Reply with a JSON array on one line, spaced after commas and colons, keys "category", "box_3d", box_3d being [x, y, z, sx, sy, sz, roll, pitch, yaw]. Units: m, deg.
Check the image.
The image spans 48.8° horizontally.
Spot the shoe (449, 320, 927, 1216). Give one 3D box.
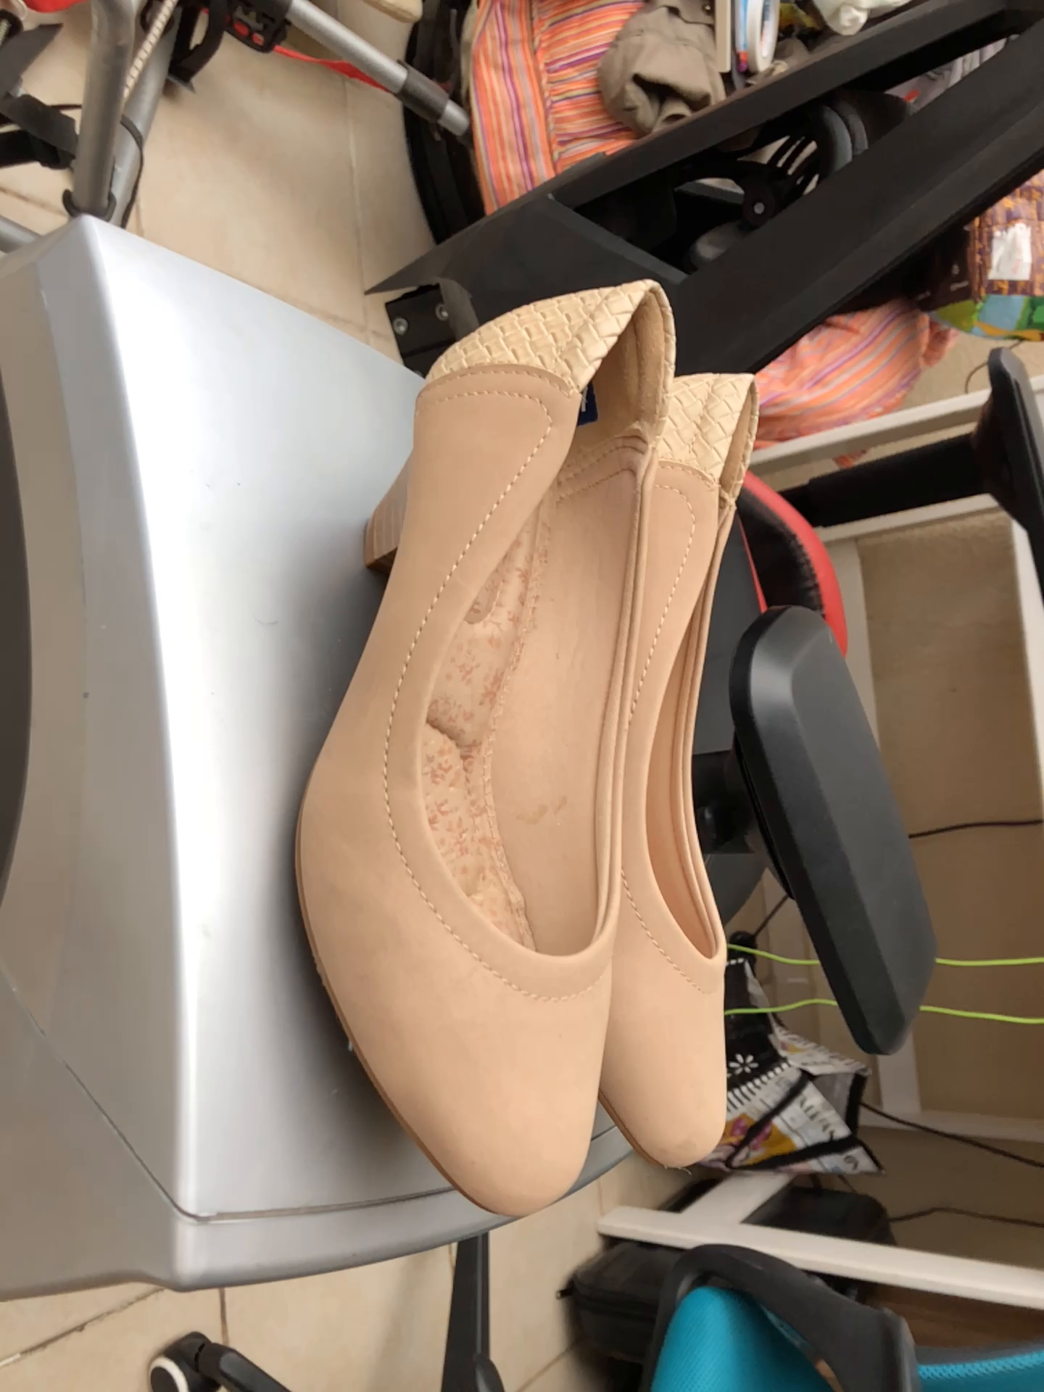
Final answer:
[{"category": "shoe", "box_3d": [0.051, 0.024, 0.382, 0.091, 0.119, 0.244, 14, 72, -54]}]

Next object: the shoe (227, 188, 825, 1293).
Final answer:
[{"category": "shoe", "box_3d": [0.005, 0.012, 0.318, 0.091, 0.119, 0.244, 21, 67, -53]}]
